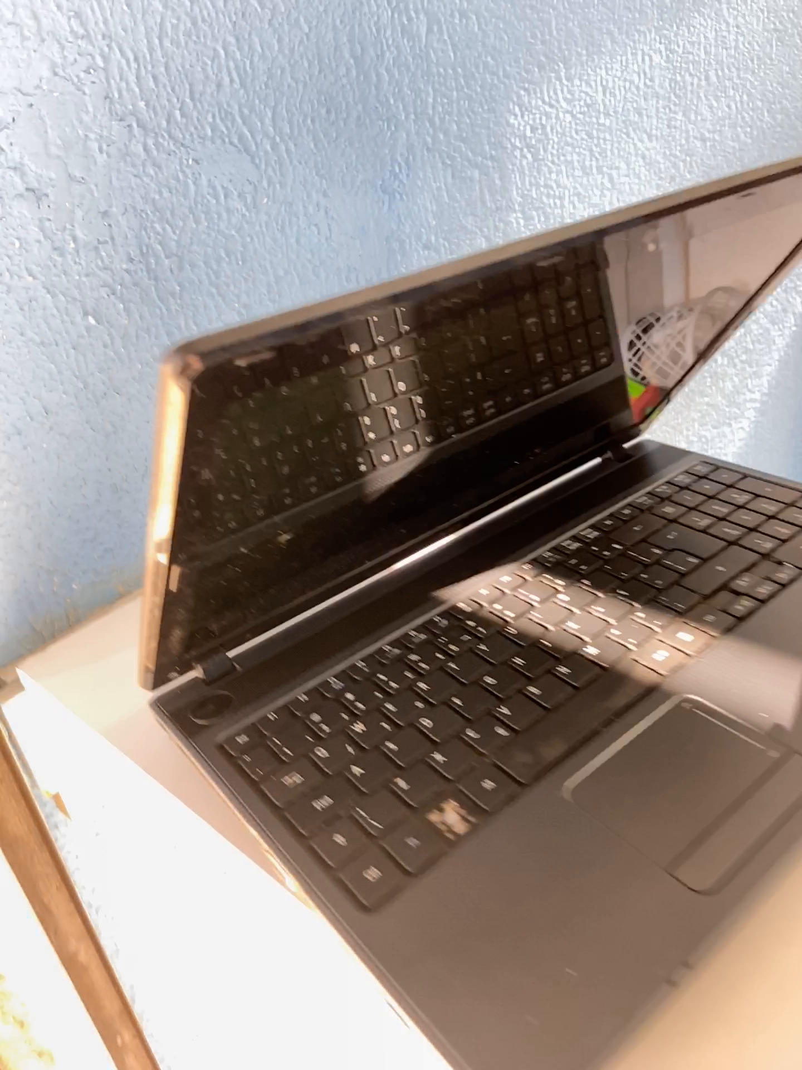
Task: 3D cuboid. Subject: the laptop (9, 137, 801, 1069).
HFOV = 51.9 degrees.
[{"bbox_3d":[0.089,-0.038,0.359,0.377,0.191,0.248,-26,33,-30],"label":"laptop"}]
